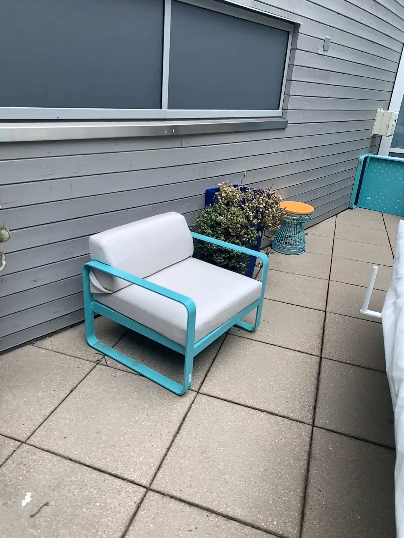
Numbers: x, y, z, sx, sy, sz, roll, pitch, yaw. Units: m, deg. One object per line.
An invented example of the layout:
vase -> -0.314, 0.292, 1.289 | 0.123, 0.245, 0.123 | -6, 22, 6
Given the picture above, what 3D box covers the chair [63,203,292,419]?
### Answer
chair -> -0.127, 0.135, 2.490 | 0.903, 0.736, 0.972 | 20, 28, 31
